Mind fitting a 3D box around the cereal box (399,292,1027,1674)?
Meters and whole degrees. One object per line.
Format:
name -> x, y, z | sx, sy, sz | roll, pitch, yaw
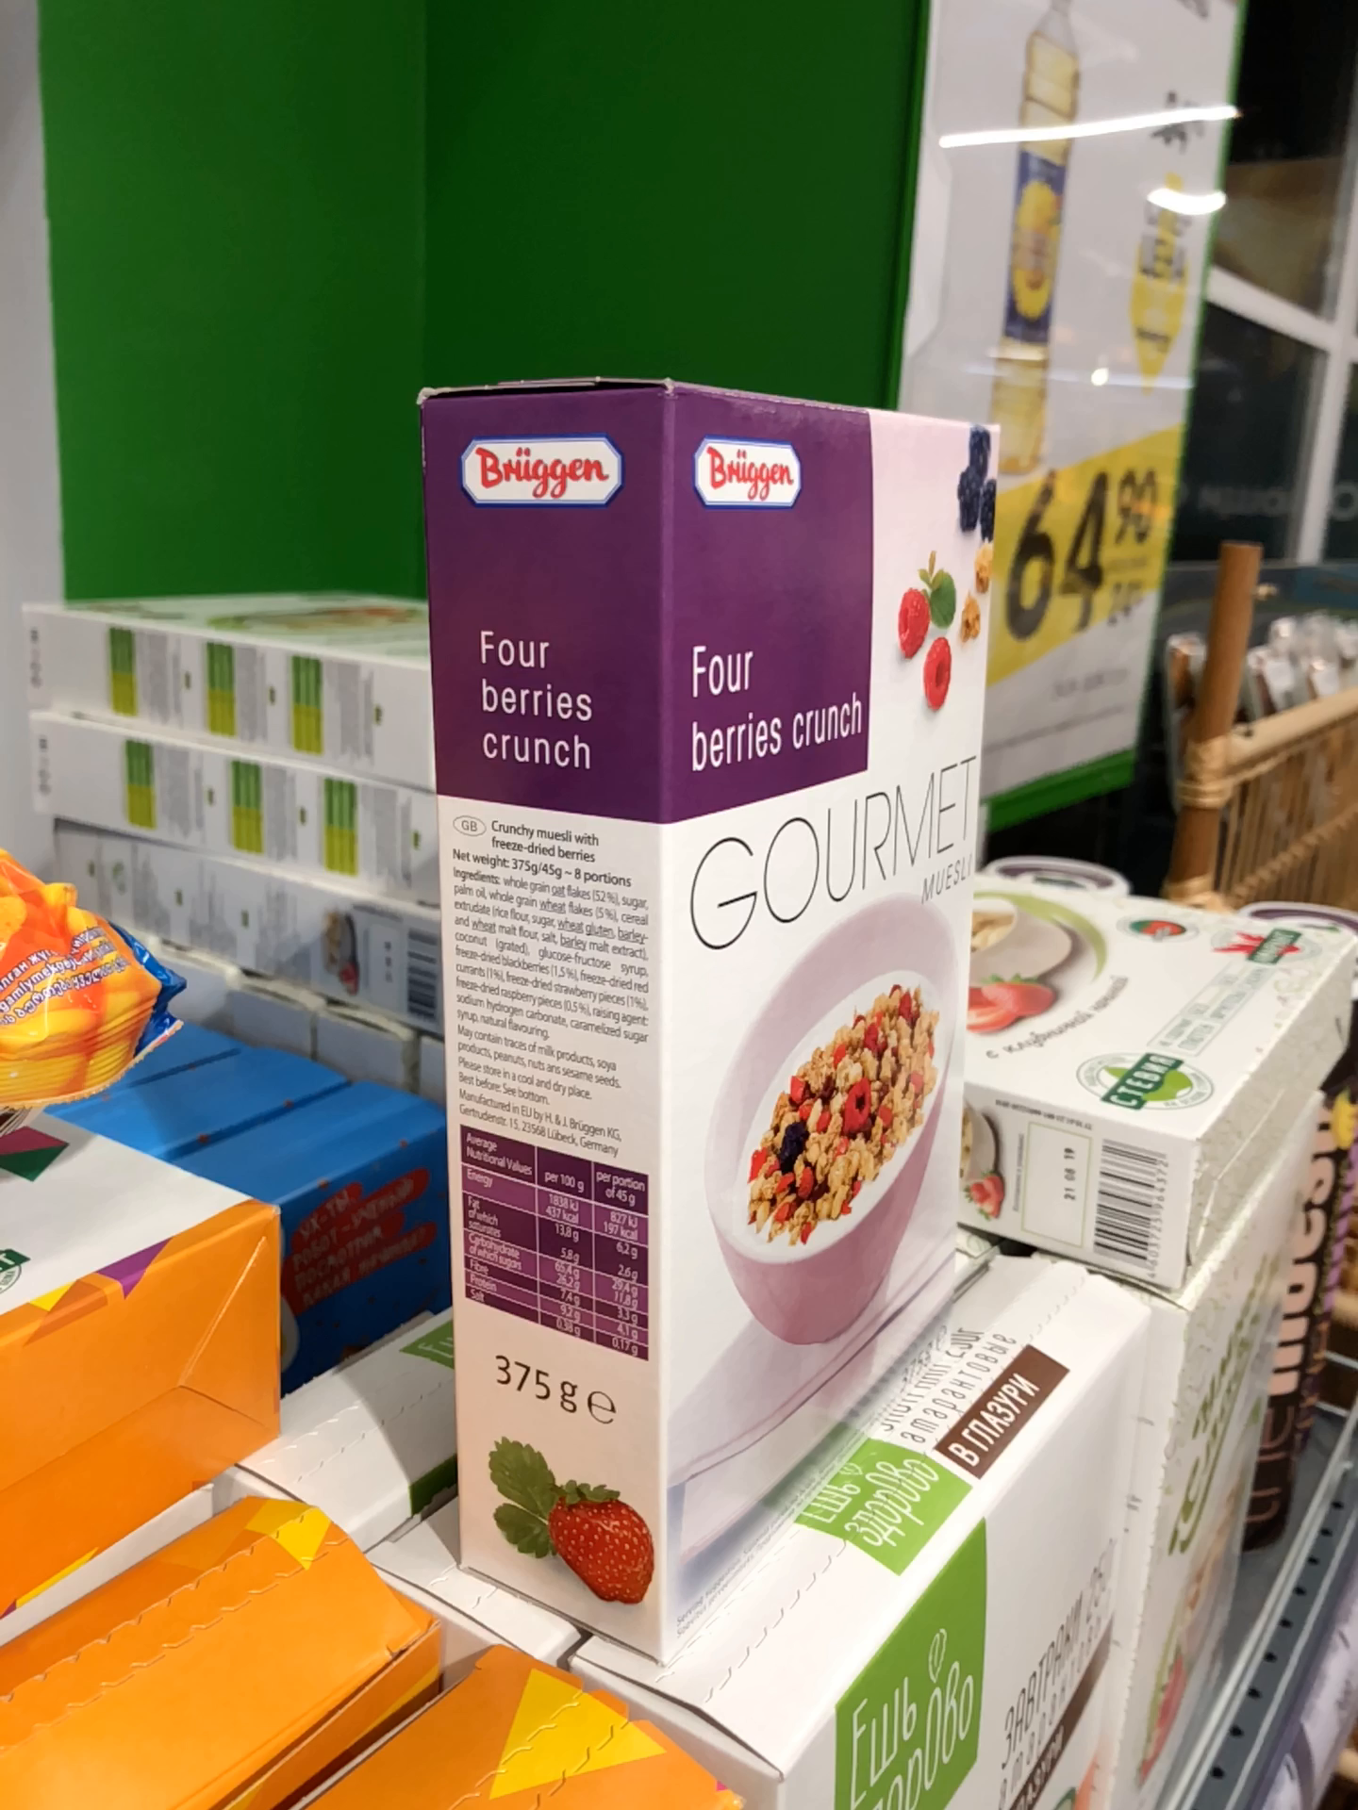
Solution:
cereal box -> 0.016, 0.006, 0.300 | 0.050, 0.219, 0.140 | 8, 16, 31
